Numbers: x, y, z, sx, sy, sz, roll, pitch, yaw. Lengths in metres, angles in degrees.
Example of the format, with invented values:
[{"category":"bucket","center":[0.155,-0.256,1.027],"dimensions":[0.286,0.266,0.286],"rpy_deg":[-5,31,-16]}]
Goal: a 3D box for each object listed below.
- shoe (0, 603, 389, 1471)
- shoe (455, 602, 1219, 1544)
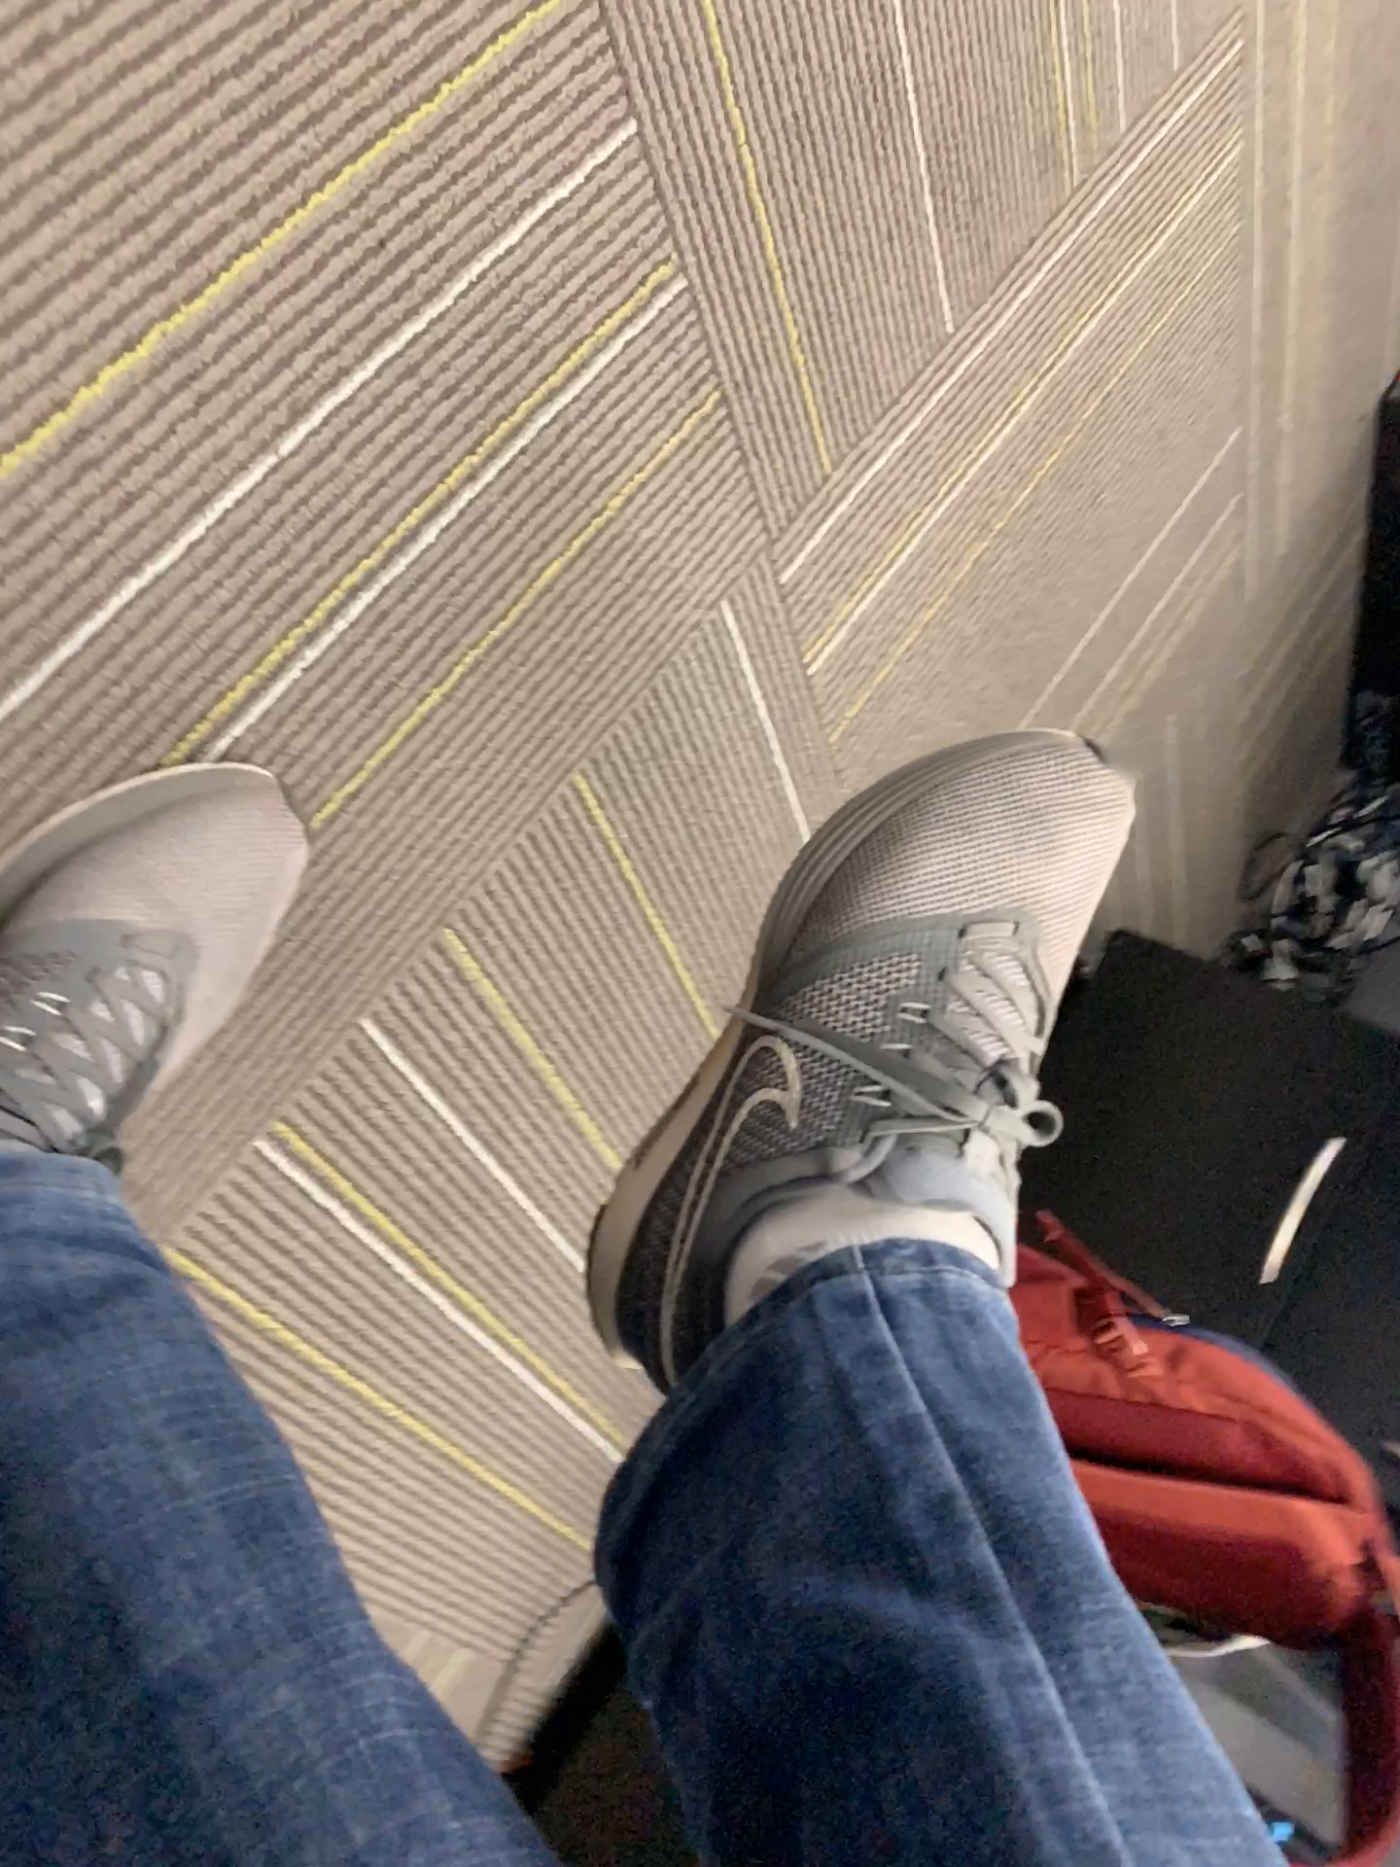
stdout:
[{"category":"shoe","center":[-0.318,0.019,0.582],"dimensions":[0.310,0.179,0.124],"rpy_deg":[-45,142,-28]},{"category":"shoe","center":[0.053,0.044,0.536],"dimensions":[0.127,0.115,0.297],"rpy_deg":[34,77,-25]}]
